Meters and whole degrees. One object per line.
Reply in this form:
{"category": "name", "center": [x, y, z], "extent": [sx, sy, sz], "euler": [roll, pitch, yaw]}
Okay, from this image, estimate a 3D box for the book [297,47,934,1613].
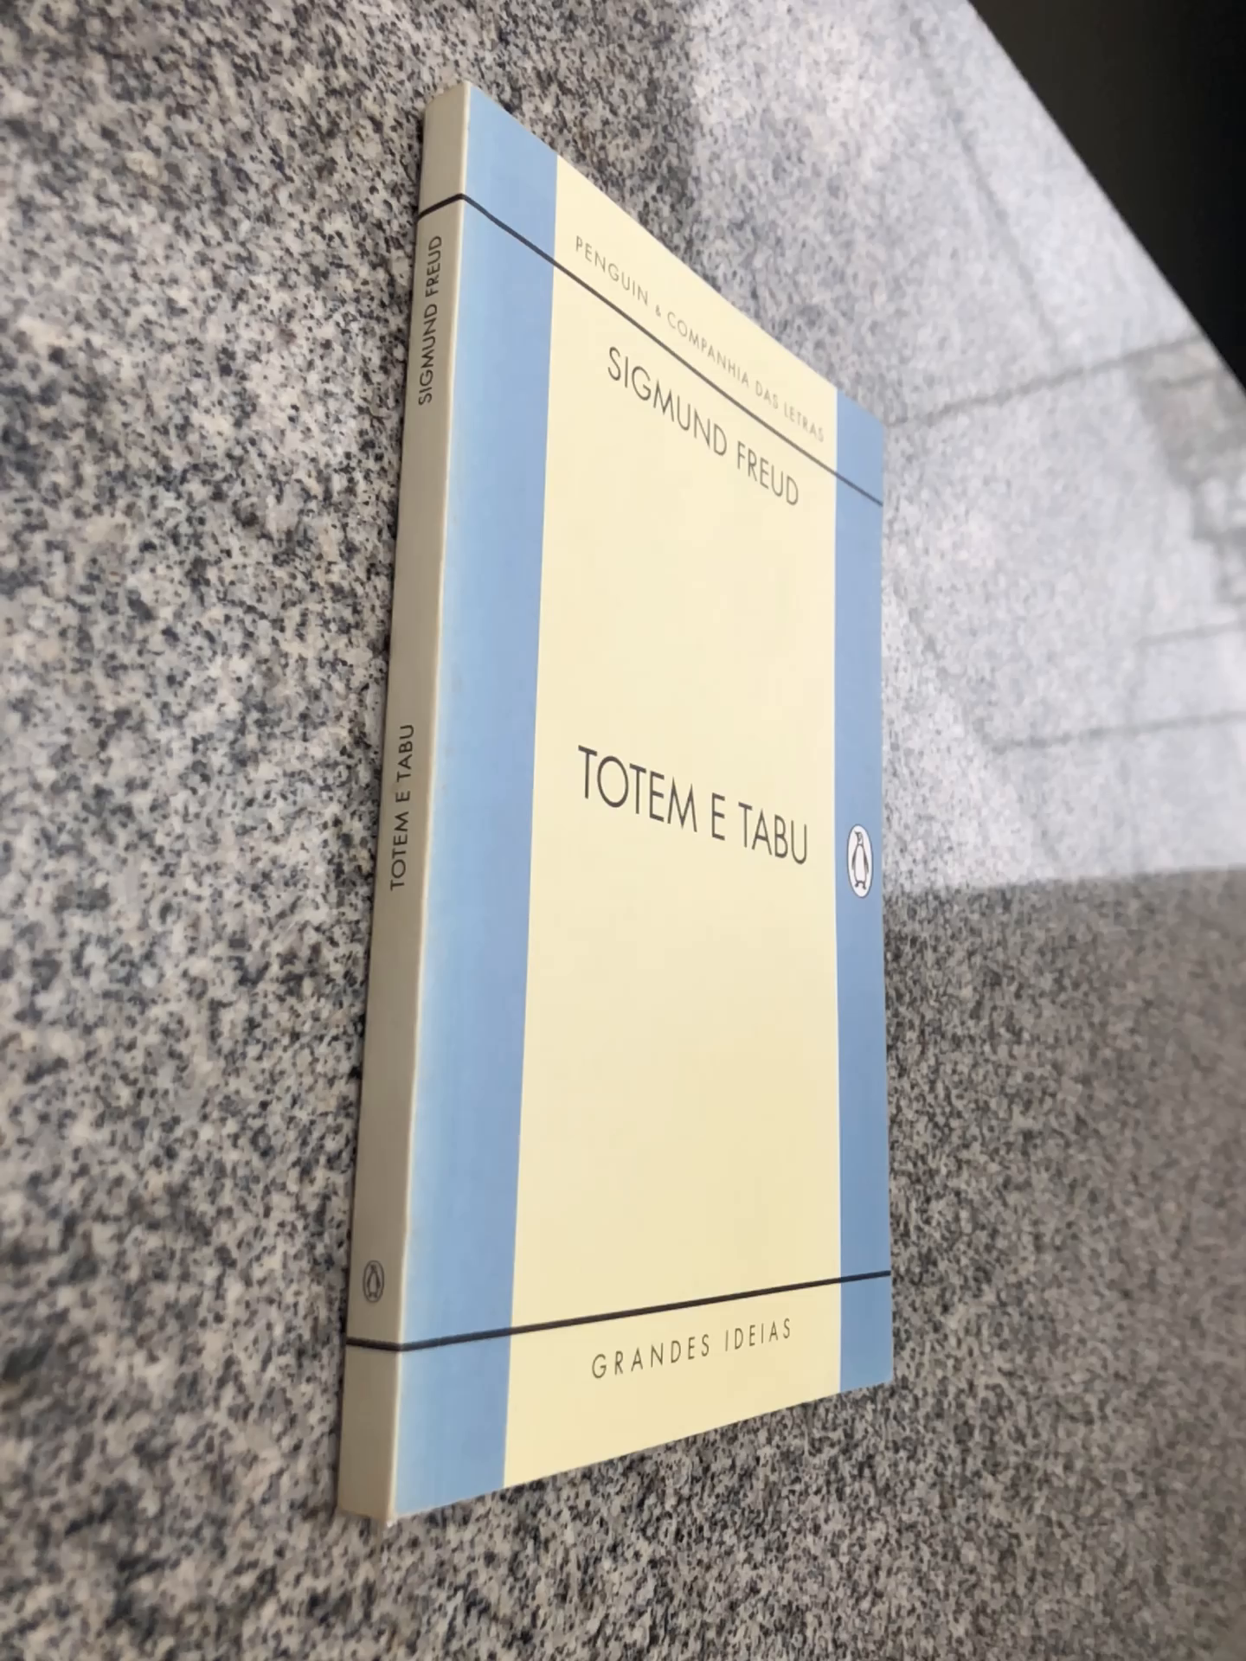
{"category": "book", "center": [0.012, 0.001, 0.221], "extent": [0.131, 0.015, 0.191], "euler": [17, 70, -51]}
